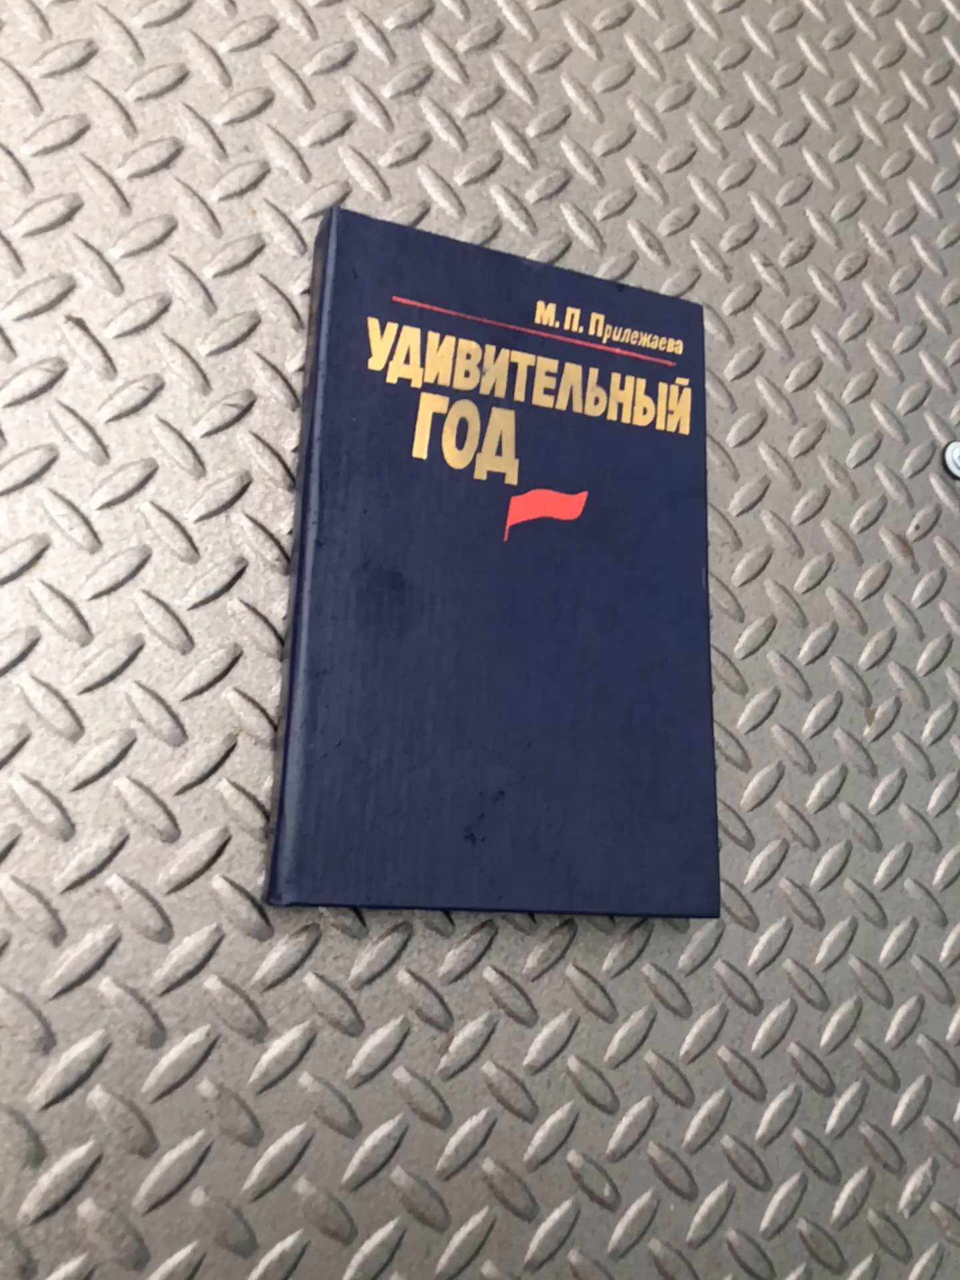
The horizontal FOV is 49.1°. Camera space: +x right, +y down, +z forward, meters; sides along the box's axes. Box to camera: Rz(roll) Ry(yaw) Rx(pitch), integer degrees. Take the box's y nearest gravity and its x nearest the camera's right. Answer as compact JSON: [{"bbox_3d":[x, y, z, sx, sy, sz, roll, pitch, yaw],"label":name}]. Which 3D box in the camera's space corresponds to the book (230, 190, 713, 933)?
[{"bbox_3d":[0.003,-0.018,0.316,0.130,0.040,0.200,7,77,-20],"label":"book"}]
